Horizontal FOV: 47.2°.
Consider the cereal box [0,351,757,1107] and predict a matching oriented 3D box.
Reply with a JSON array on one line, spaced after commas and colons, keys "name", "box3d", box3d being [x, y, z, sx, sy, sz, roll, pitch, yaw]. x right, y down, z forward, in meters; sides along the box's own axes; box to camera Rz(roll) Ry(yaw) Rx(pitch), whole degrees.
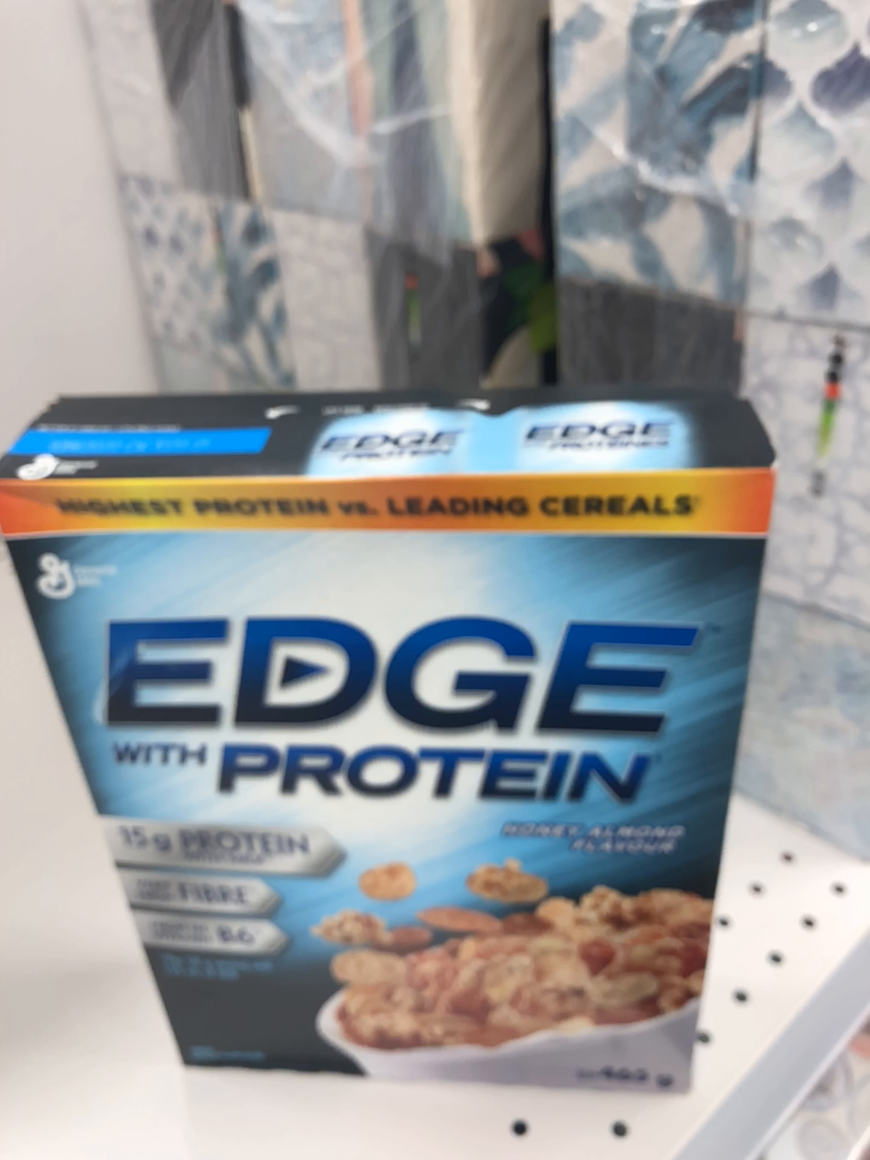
[{"name": "cereal box", "box3d": [-0.014, 0.070, 0.335, 0.200, 0.279, 0.050, -1, 33, 6]}]
